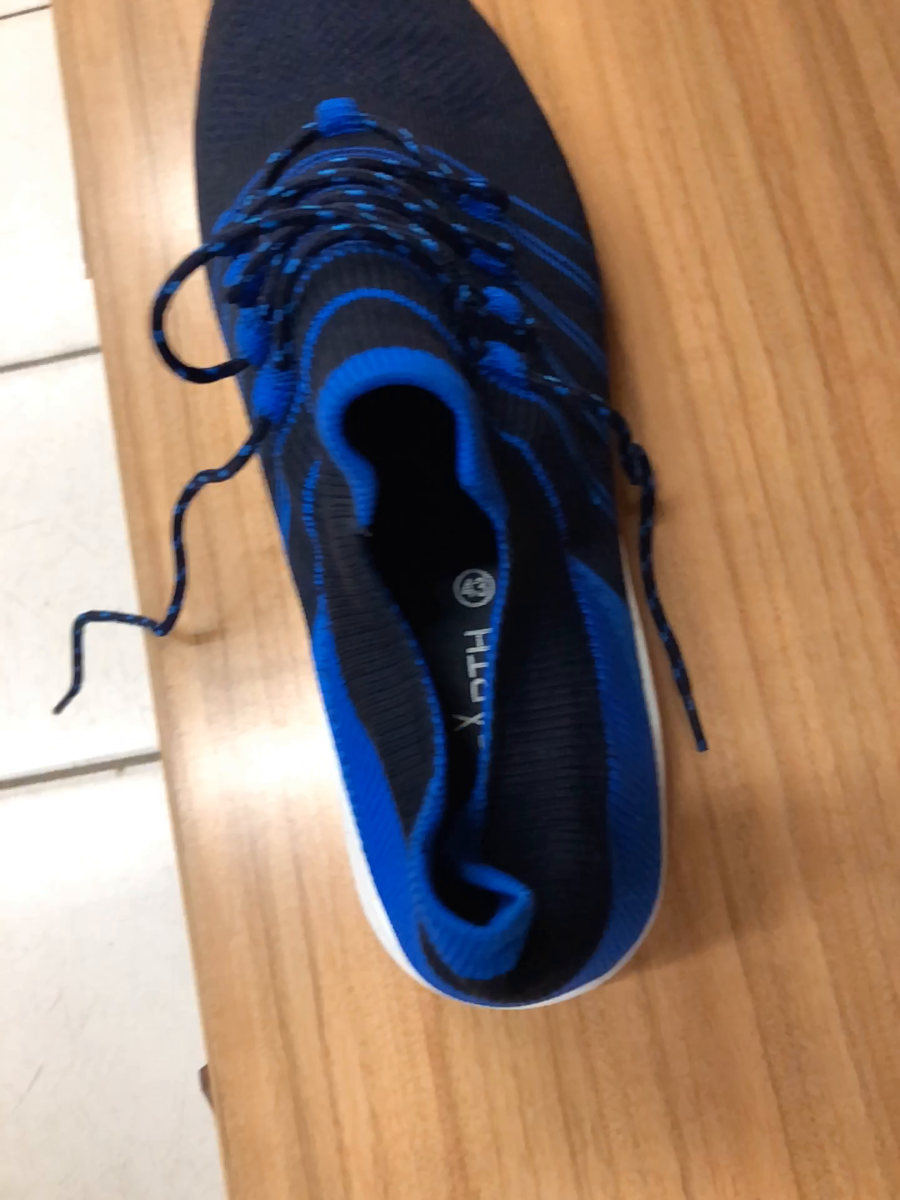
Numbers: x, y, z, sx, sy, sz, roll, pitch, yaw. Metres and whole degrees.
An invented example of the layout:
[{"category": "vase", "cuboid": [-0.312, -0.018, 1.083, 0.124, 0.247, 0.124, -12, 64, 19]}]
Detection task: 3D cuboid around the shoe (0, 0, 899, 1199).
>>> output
[{"category": "shoe", "cuboid": [-0.012, -0.039, 0.196, 0.110, 0.110, 0.260, -14, 78, 2]}]
